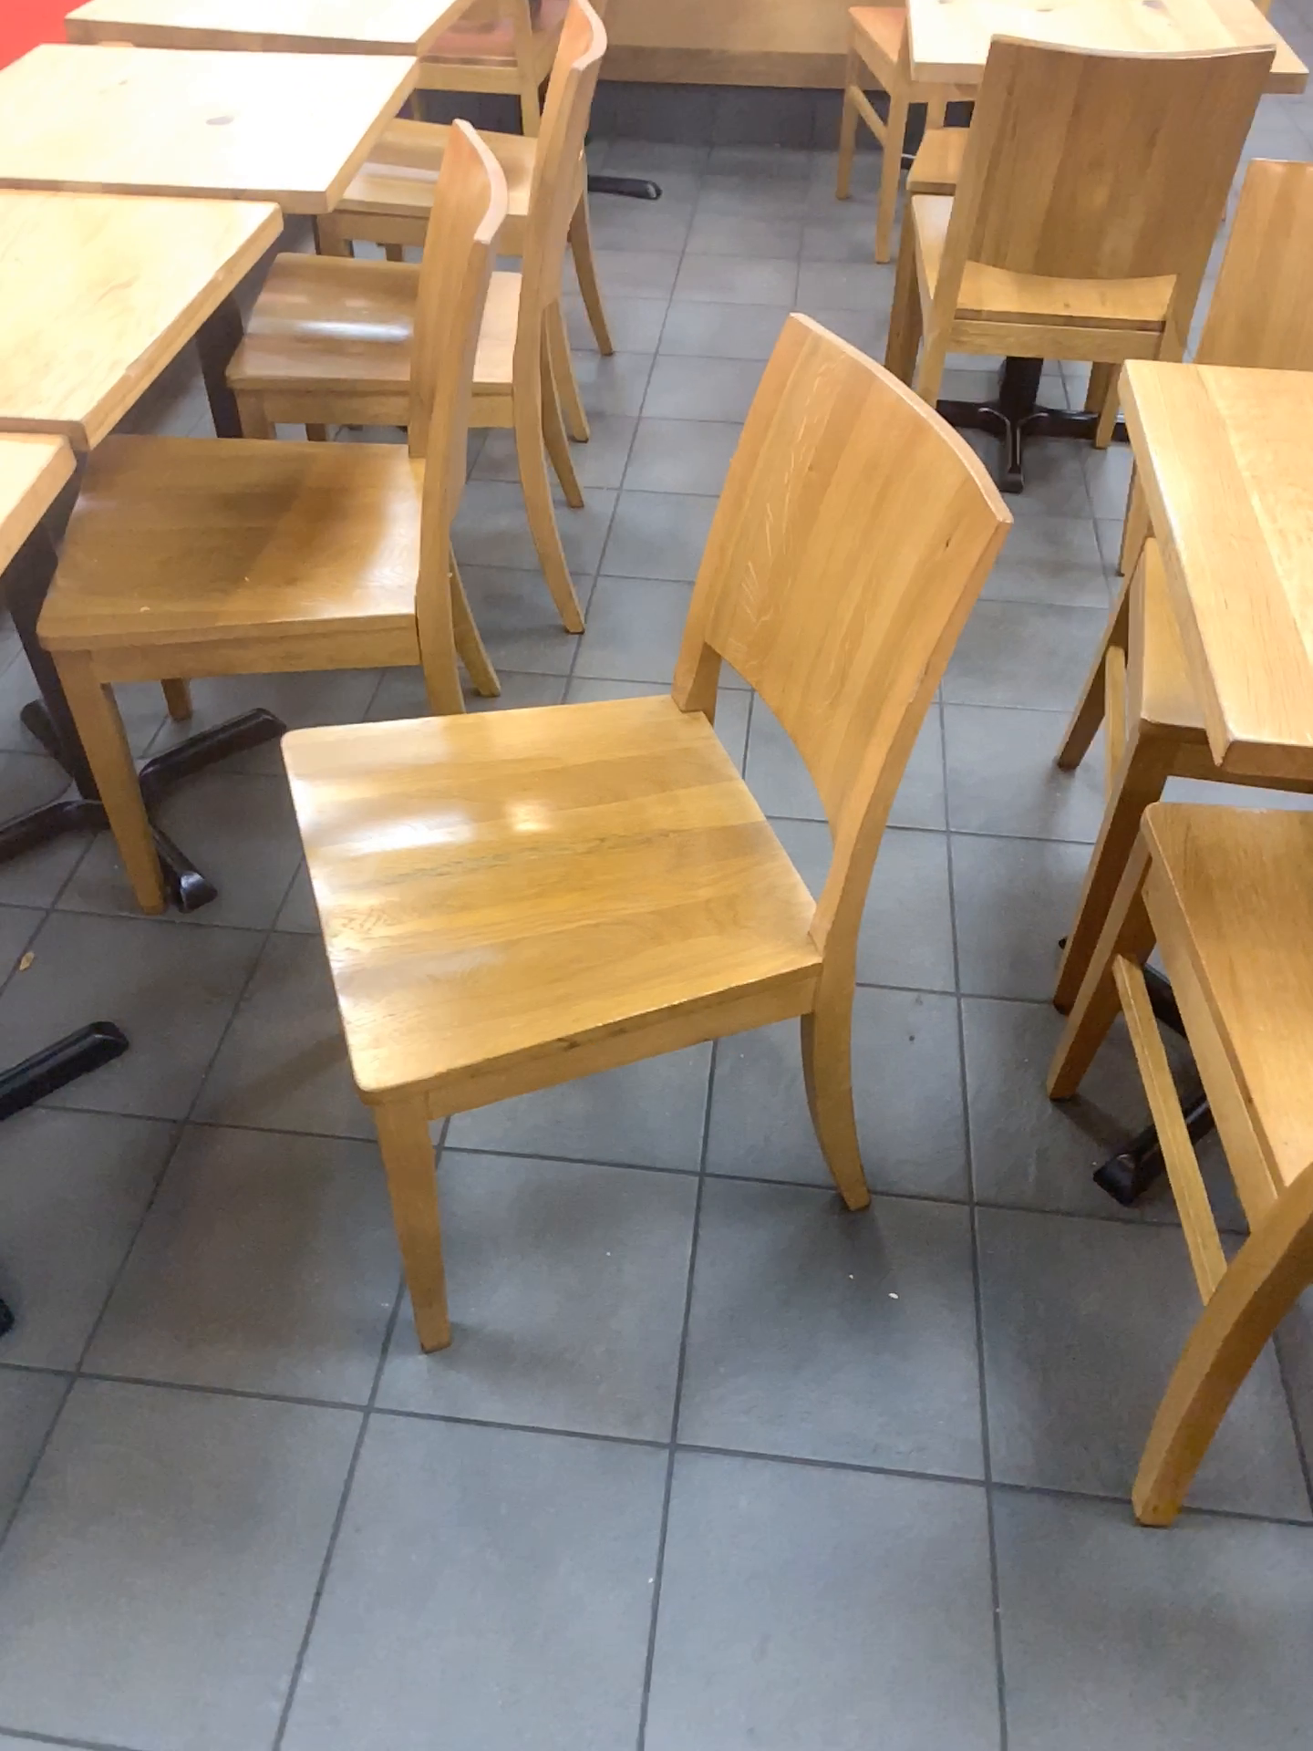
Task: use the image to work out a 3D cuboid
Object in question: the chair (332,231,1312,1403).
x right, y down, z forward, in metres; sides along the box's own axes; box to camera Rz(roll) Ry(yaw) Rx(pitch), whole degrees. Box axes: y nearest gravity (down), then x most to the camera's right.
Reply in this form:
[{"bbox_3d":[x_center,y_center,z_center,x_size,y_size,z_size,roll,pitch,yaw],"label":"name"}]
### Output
[{"bbox_3d":[0.084,-0.037,1.252,0.611,0.891,0.515,-10,45,-17],"label":"chair"}]
